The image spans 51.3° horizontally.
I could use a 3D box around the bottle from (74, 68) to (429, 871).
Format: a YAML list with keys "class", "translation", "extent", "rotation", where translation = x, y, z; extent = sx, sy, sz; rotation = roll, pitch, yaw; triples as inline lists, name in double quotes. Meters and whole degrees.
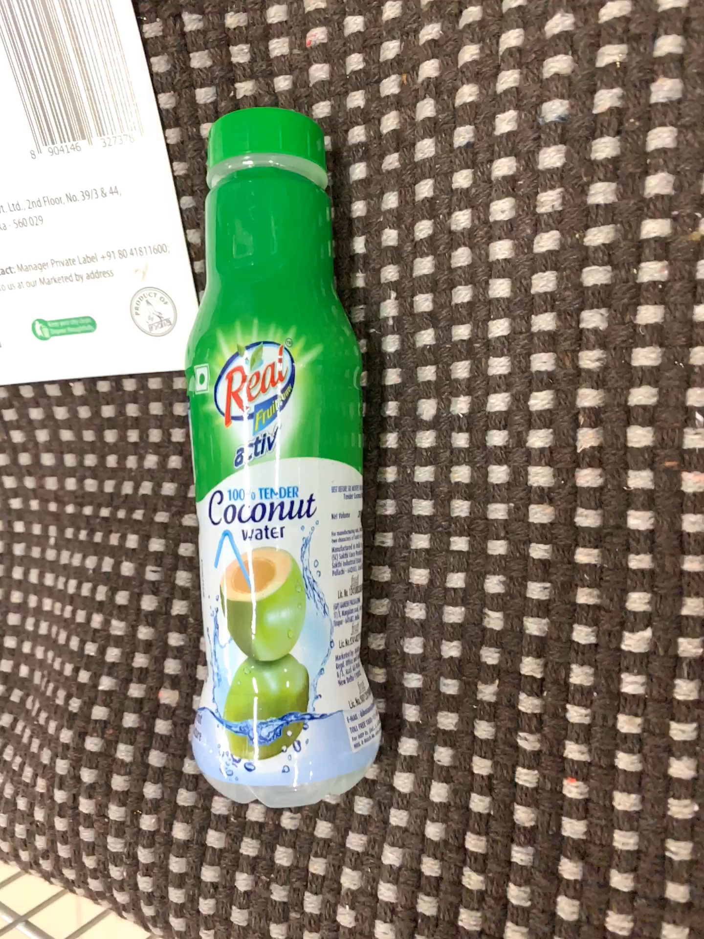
- class: "bottle"
  translation: [-0.019, 0.005, 0.181]
  extent: [0.060, 0.040, 0.170]
  rotation: [-2, 98, 16]
